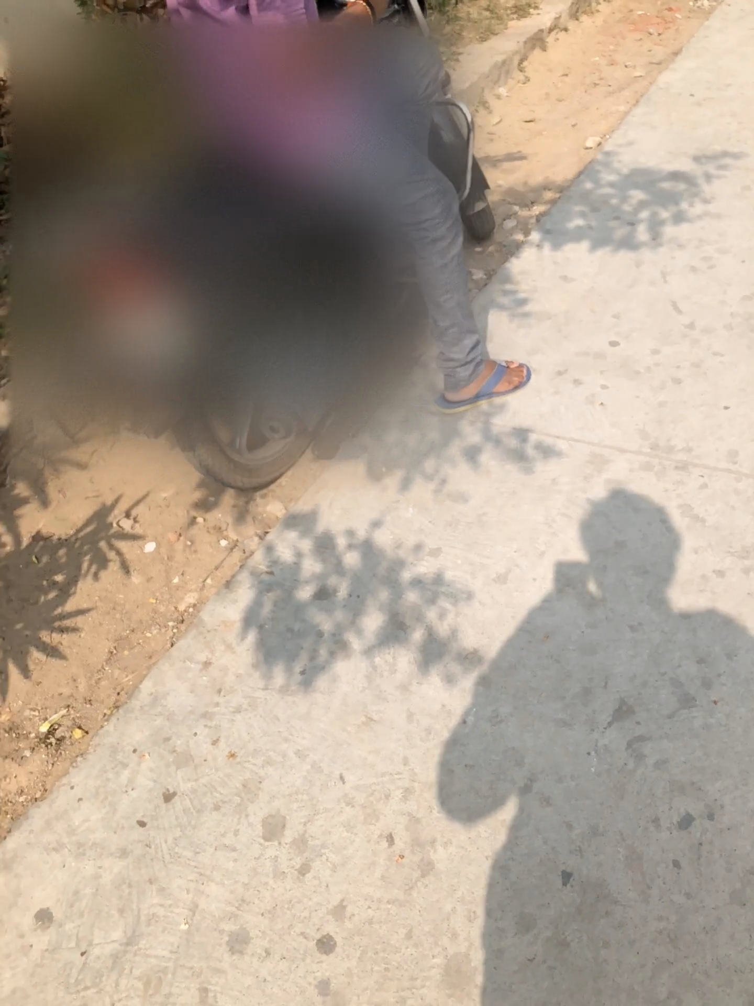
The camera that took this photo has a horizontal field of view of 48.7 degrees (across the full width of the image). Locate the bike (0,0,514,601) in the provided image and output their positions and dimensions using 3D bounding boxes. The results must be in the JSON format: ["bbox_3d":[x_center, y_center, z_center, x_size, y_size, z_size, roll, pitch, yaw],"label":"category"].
[{"bbox_3d":[-0.202,-0.959,2.319,0.769,1.295,1.769,11,52,20],"label":"bike"}]
